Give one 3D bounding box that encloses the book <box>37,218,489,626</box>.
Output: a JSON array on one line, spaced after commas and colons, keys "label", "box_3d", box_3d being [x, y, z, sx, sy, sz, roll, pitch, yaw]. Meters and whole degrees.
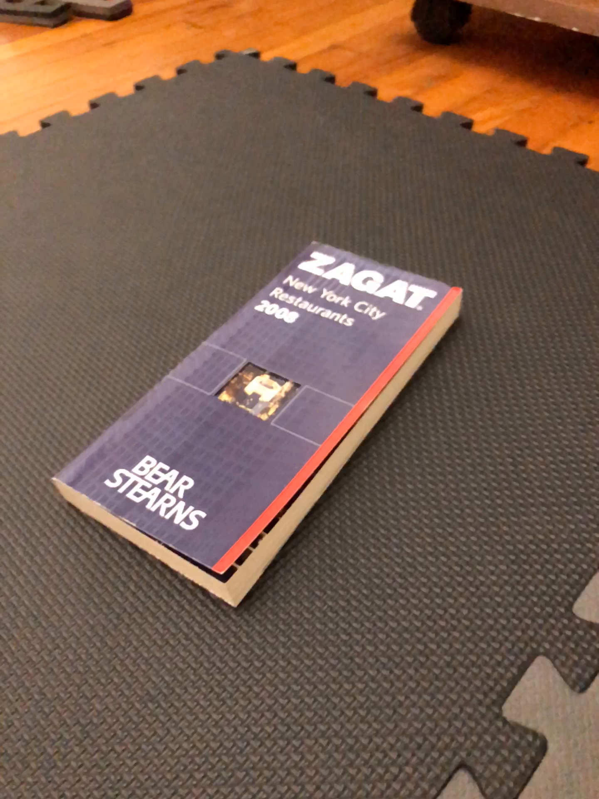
[{"label": "book", "box_3d": [-0.006, -0.011, 0.347, 0.120, 0.030, 0.221, 25, 54, 24]}]
